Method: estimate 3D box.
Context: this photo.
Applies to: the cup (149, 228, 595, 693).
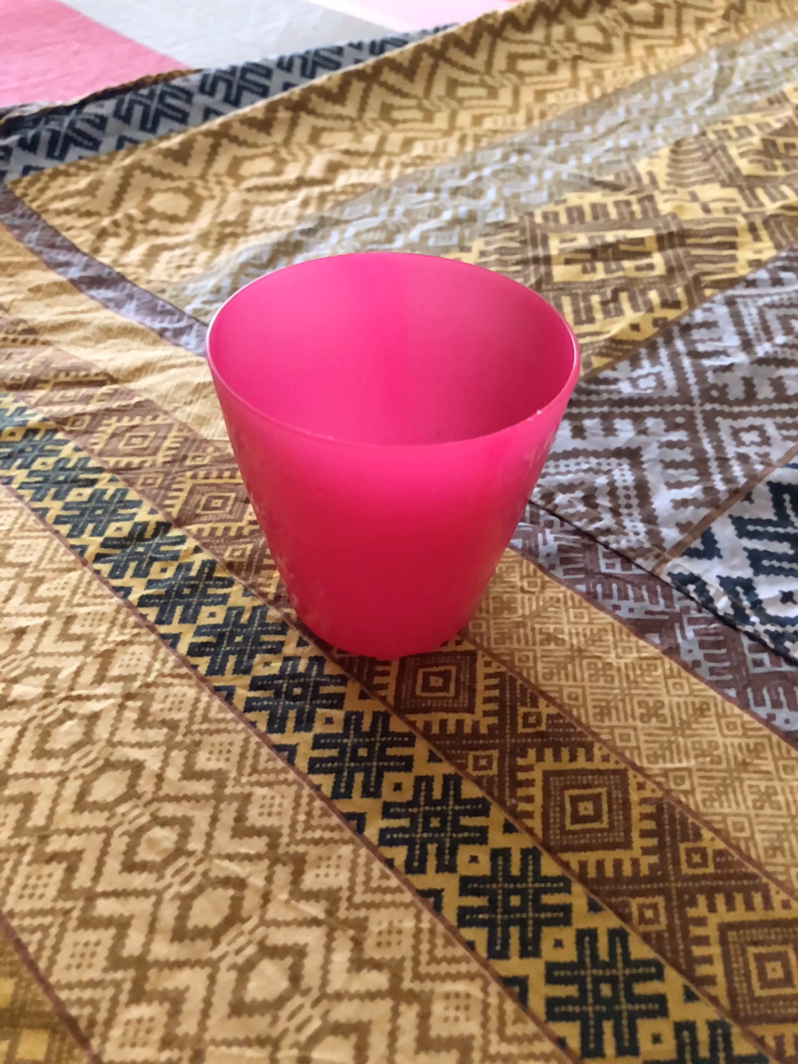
[{"bbox_3d":[0.000,-0.019,0.213,0.078,0.067,0.078,-1,45,1],"label":"cup"}]
